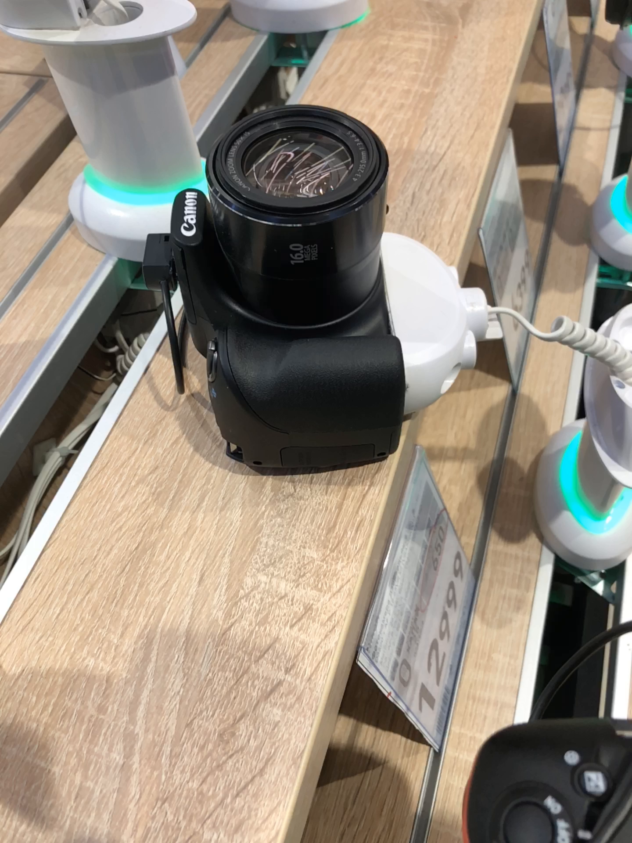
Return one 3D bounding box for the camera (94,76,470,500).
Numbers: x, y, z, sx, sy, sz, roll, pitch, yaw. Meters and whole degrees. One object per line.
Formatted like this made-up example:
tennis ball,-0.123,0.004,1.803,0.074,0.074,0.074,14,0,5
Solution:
camera,-0.014,-0.053,0.274,0.106,0.090,0.134,-3,55,-2
